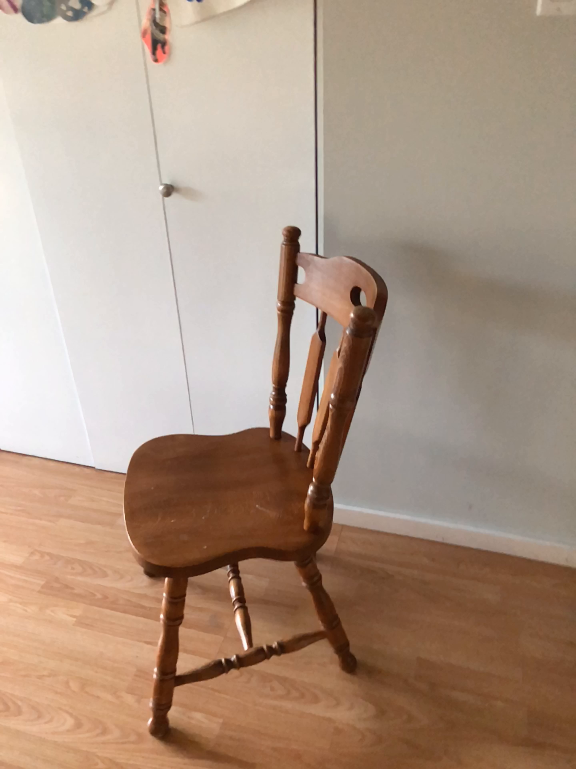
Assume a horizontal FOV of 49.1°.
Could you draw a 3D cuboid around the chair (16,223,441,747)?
[{"bbox_3d":[-0.116,0.175,1.311,0.590,0.817,0.562,-8,31,-10],"label":"chair"}]
